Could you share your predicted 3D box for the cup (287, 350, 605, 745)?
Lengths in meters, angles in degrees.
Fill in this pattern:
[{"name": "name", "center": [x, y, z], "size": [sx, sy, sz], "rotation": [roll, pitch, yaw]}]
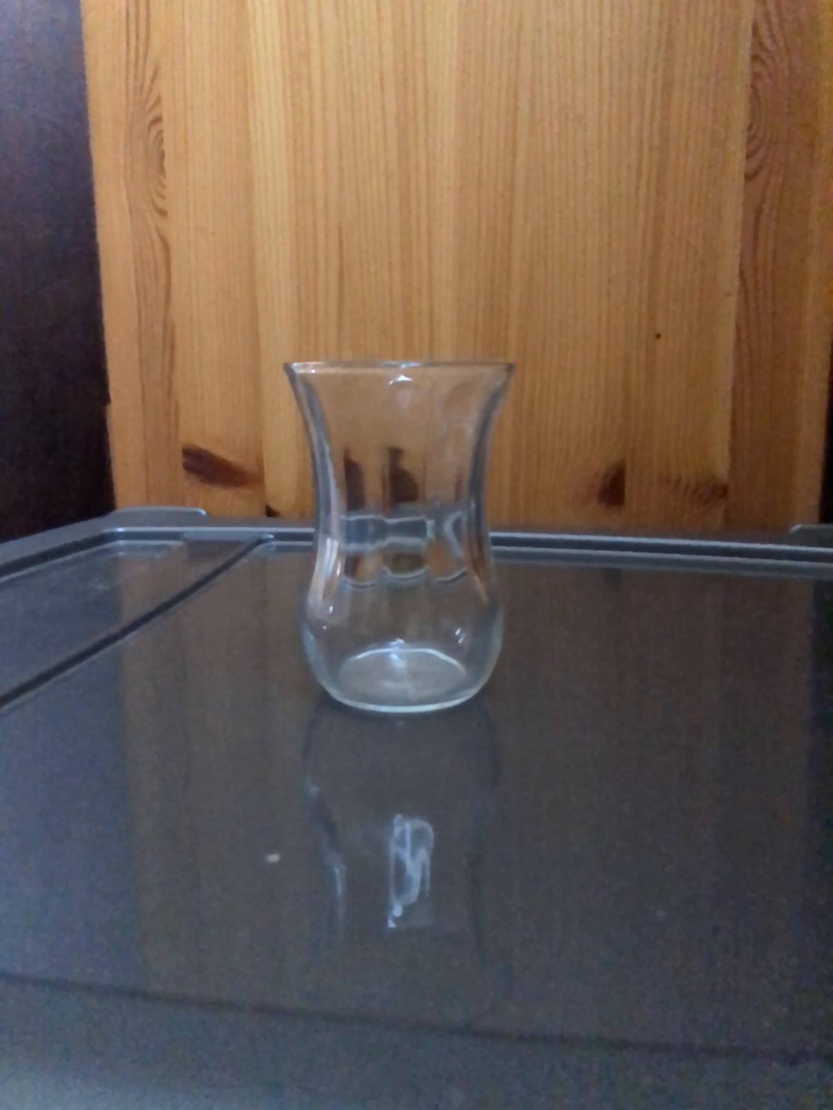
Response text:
[{"name": "cup", "center": [0.003, -0.007, 0.219], "size": [0.060, 0.080, 0.060], "rotation": [0, 13, 0]}]
